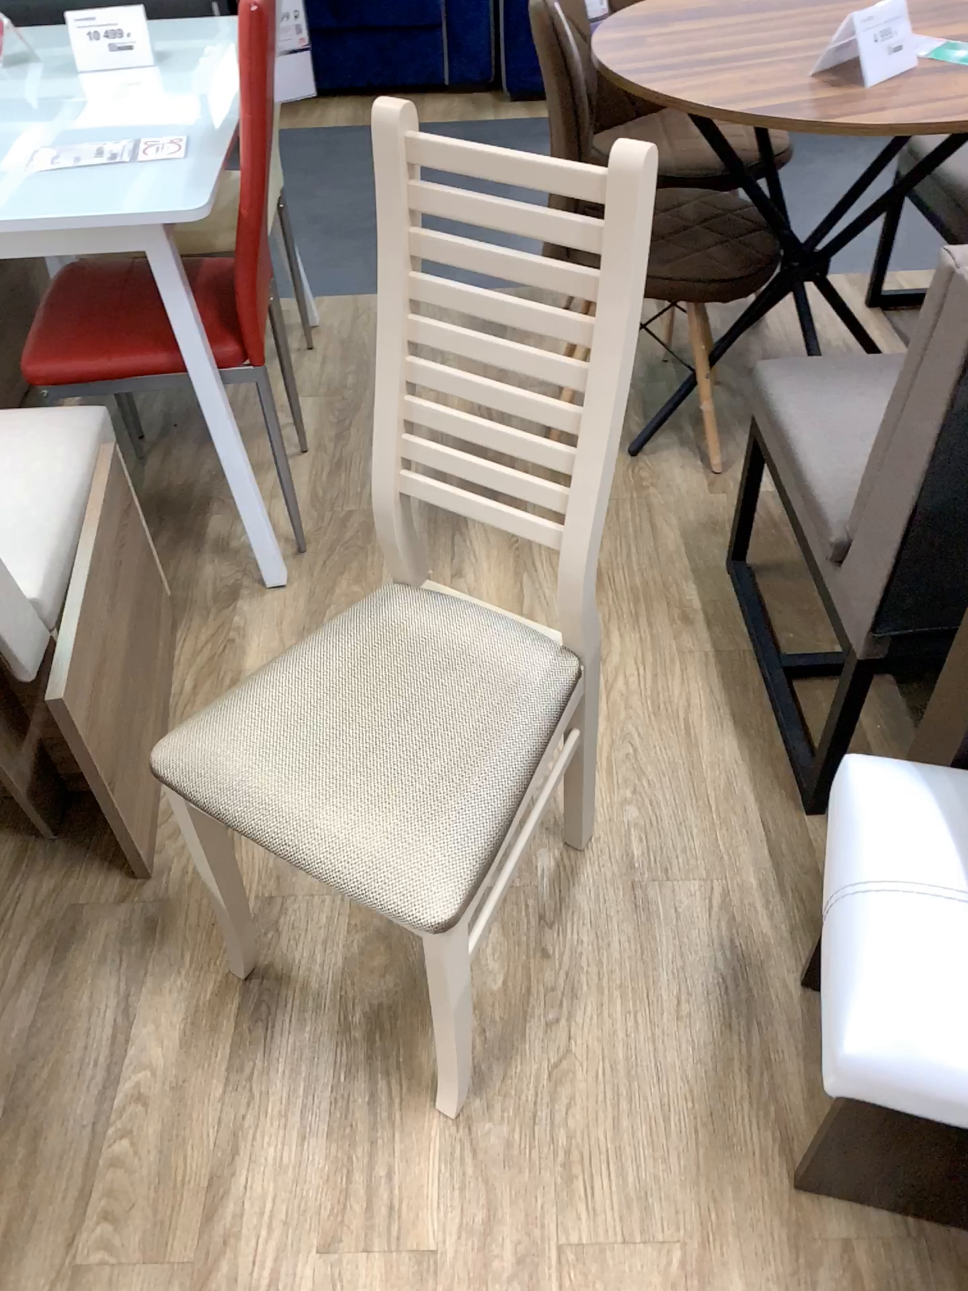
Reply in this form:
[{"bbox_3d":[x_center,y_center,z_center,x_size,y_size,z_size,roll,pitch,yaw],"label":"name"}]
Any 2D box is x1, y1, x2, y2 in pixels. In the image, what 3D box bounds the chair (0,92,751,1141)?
[{"bbox_3d":[-0.084,0.017,1.129,0.441,0.985,0.552,23,50,24],"label":"chair"}]
